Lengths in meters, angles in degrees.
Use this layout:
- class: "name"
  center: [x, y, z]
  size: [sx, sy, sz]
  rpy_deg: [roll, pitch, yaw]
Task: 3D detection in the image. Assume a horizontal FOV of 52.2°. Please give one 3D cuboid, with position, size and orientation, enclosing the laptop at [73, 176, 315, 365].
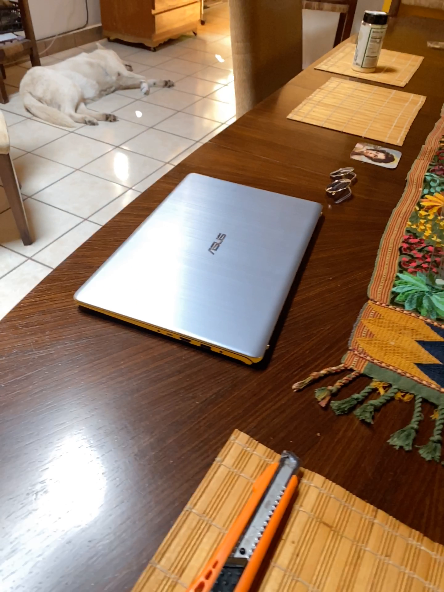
- class: "laptop"
  center: [-0.014, -0.073, 0.698]
  size: [0.246, 0.001, 0.385]
  rpy_deg: [16, 43, 12]
